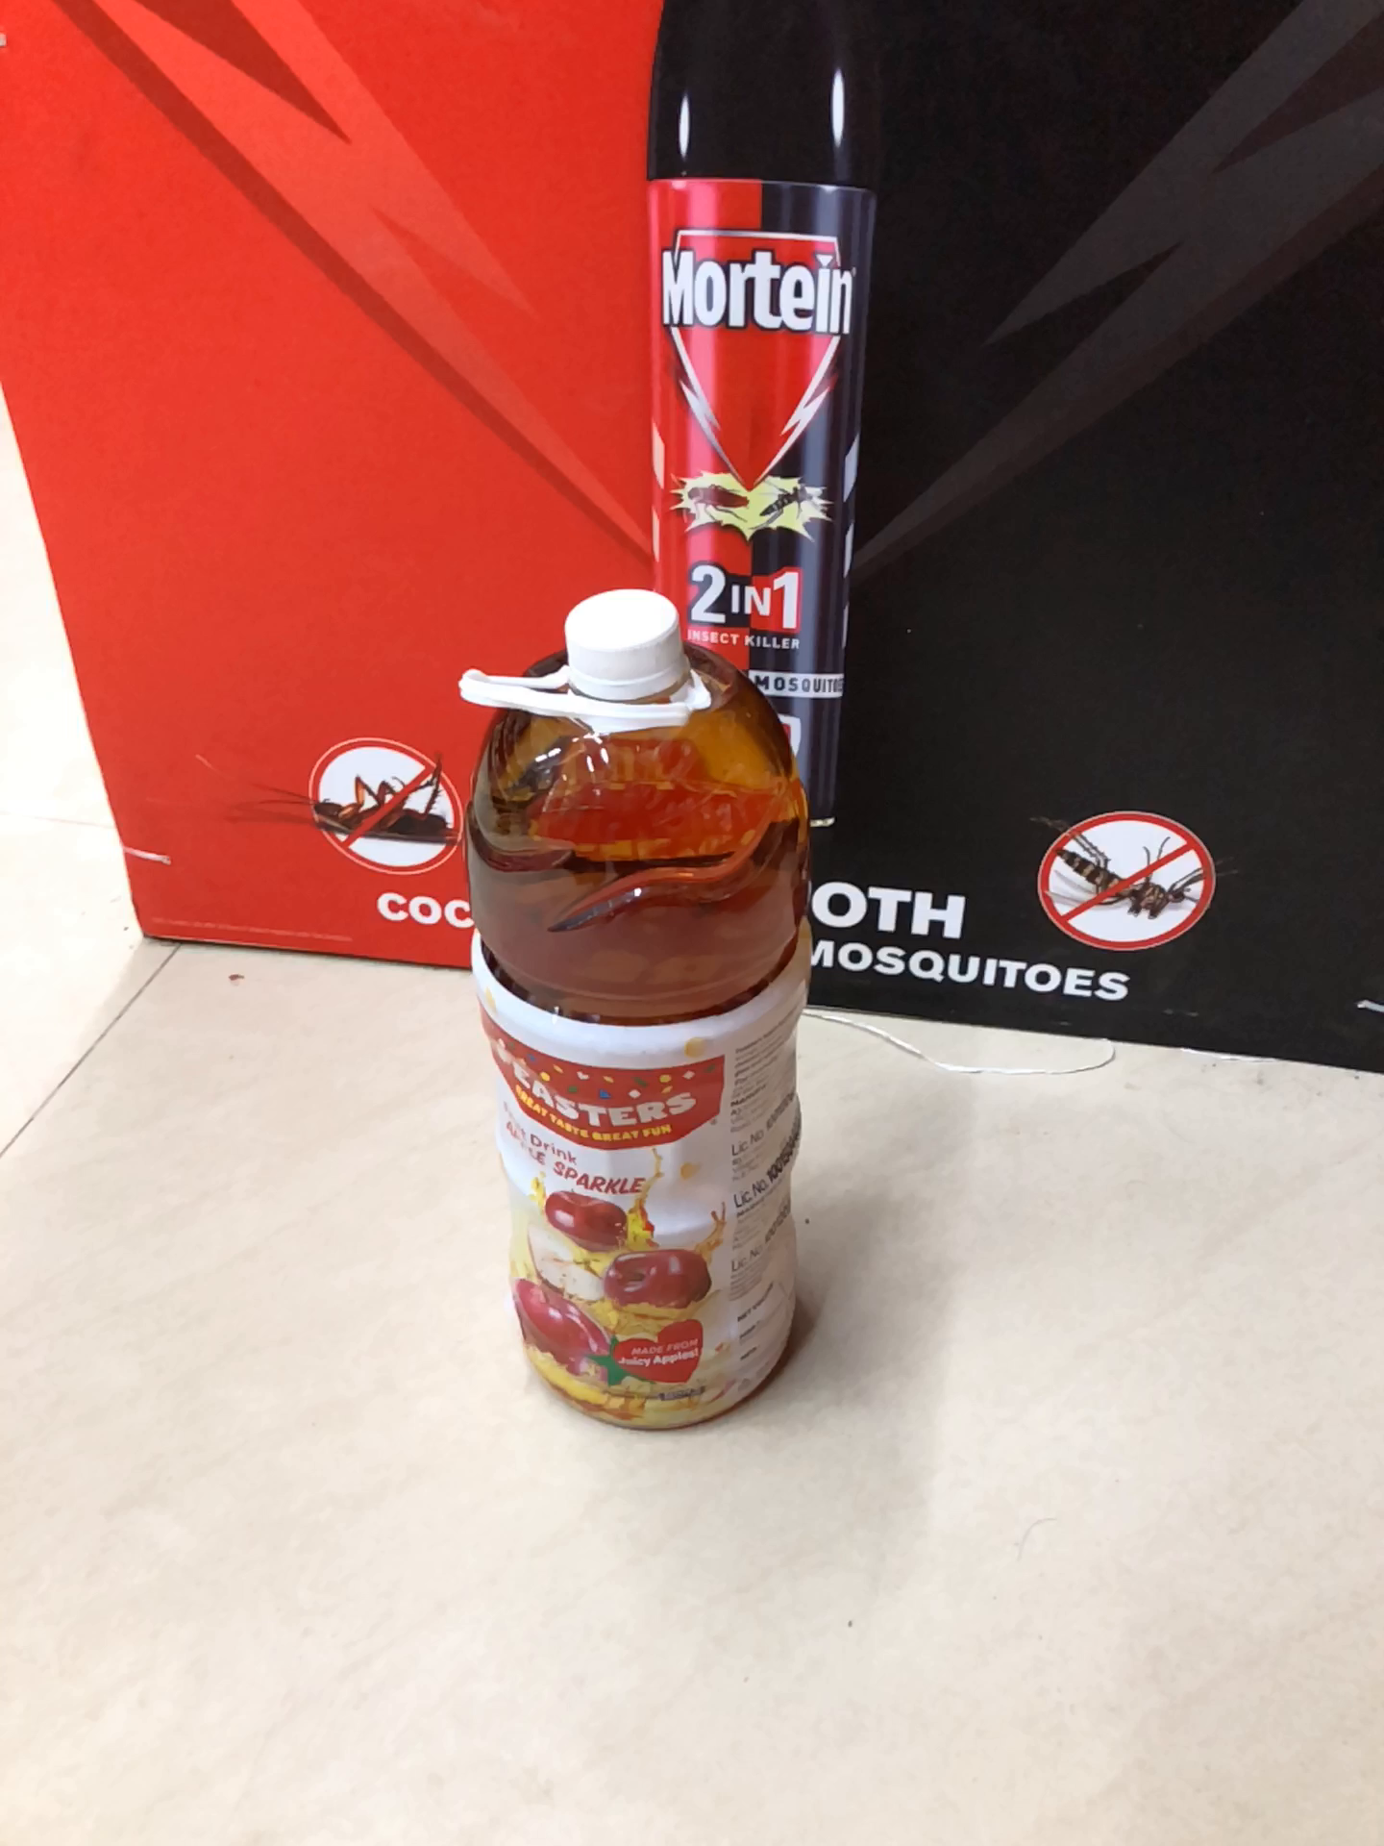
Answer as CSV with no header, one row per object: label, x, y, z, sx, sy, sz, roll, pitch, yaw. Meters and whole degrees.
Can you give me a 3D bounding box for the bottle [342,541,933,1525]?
bottle,-0.009,0.041,0.475,0.120,0.278,0.101,15,39,22
